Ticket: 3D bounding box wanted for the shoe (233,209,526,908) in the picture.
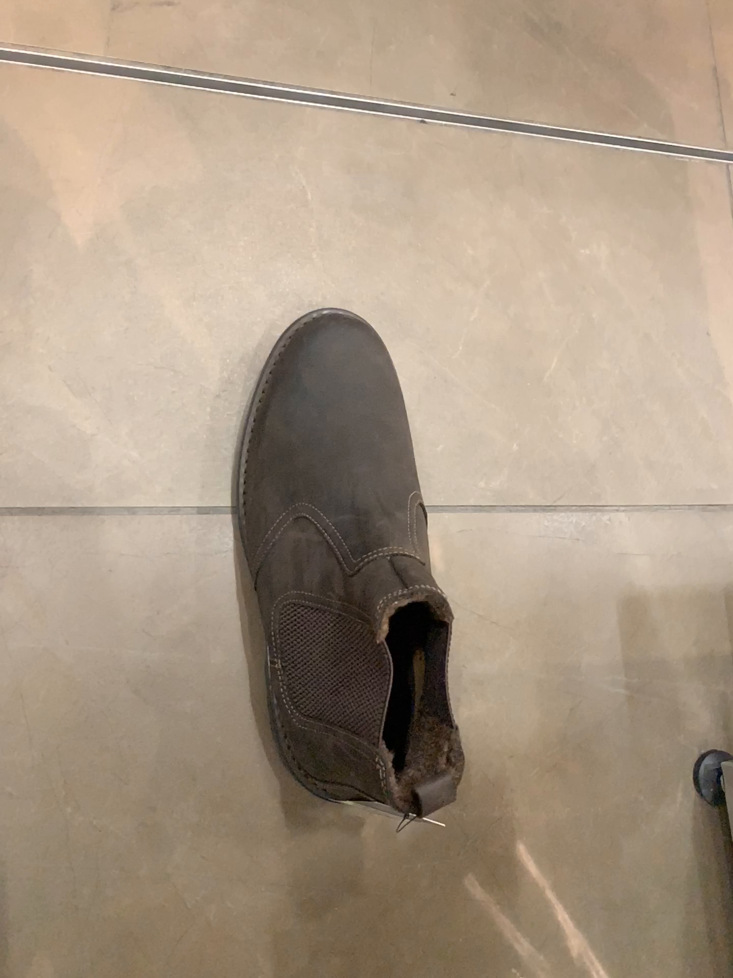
[{"bbox_3d":[-0.009,0.033,0.419,0.114,0.166,0.304,1,80,-15],"label":"shoe"}]
